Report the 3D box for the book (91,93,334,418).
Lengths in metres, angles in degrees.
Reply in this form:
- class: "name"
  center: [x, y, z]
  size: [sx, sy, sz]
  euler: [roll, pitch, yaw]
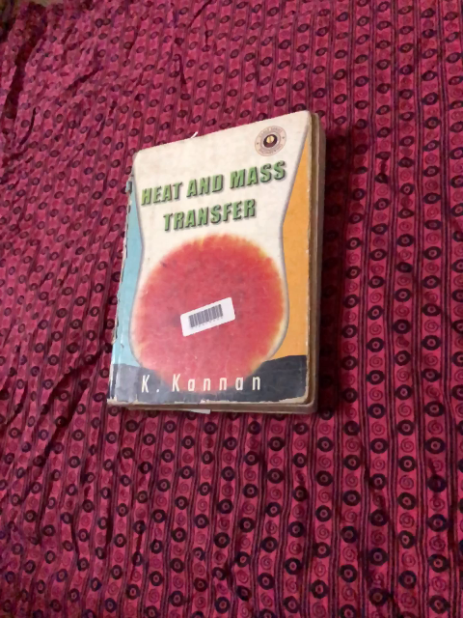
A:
- class: "book"
  center: [-0.013, -0.041, 0.428]
  size: [0.185, 0.039, 0.249]
  euler: [-4, 71, 25]
